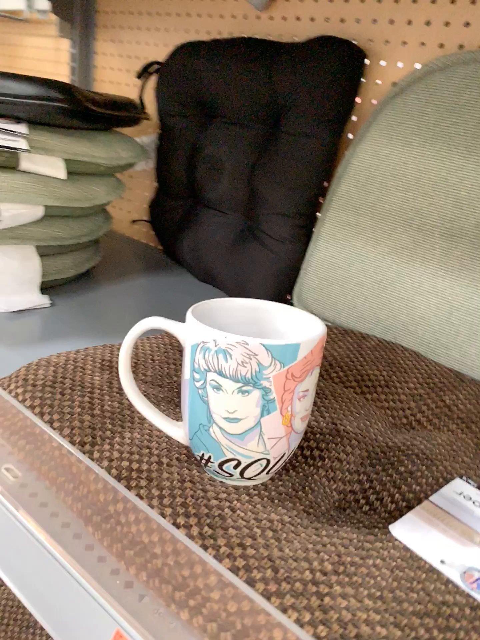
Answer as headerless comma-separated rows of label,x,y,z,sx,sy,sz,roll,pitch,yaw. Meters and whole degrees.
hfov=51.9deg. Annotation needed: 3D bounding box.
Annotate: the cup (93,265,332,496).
cup,-0.016,0.033,0.327,0.128,0.100,0.090,10,20,4
